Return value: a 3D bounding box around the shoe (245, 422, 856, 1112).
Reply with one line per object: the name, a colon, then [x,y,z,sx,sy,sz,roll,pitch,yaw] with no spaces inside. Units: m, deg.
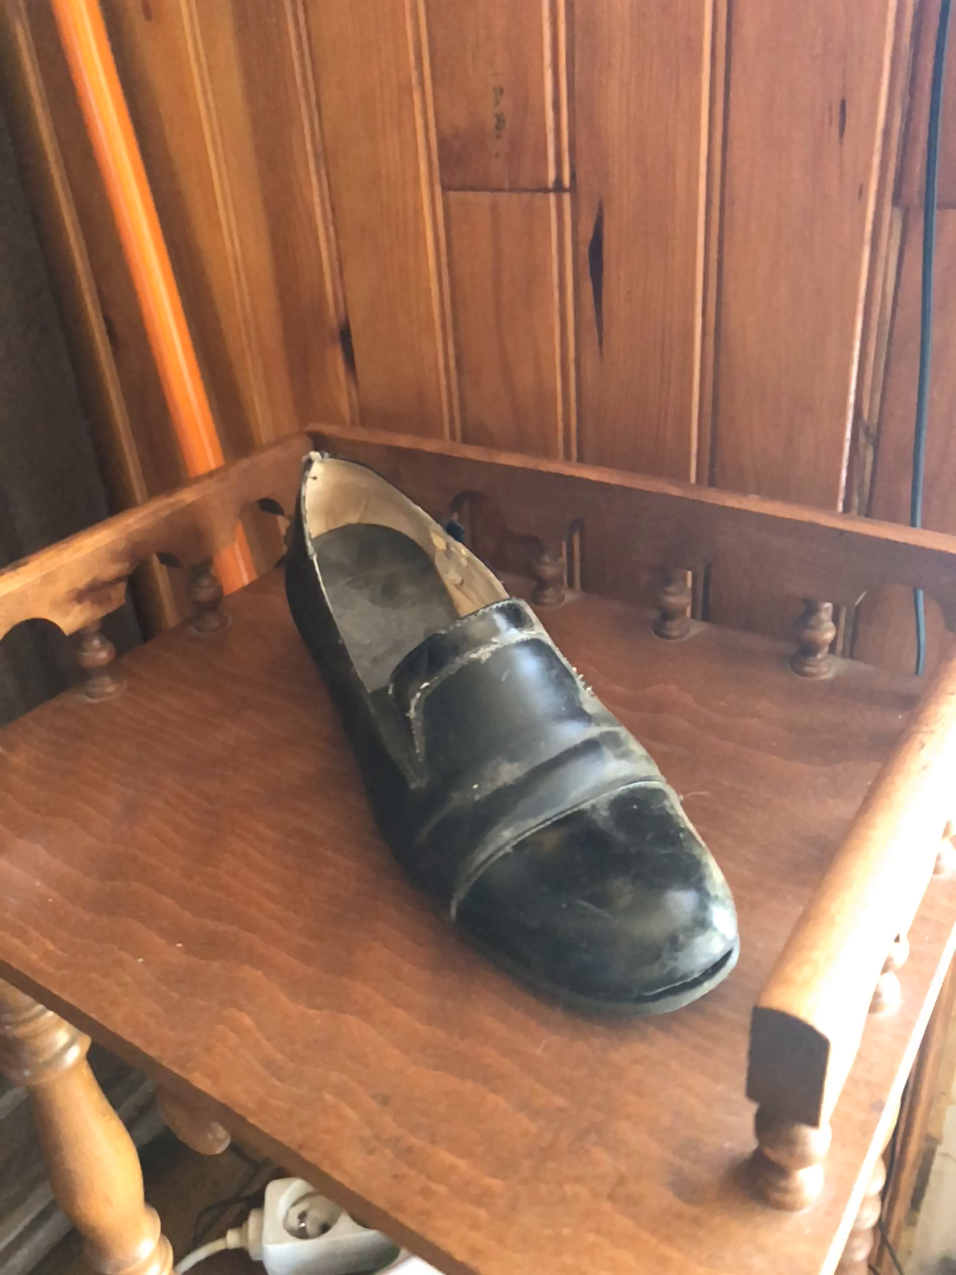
shoe: [0.001,0.014,0.375,0.100,0.089,0.261,-15,32,-17]
